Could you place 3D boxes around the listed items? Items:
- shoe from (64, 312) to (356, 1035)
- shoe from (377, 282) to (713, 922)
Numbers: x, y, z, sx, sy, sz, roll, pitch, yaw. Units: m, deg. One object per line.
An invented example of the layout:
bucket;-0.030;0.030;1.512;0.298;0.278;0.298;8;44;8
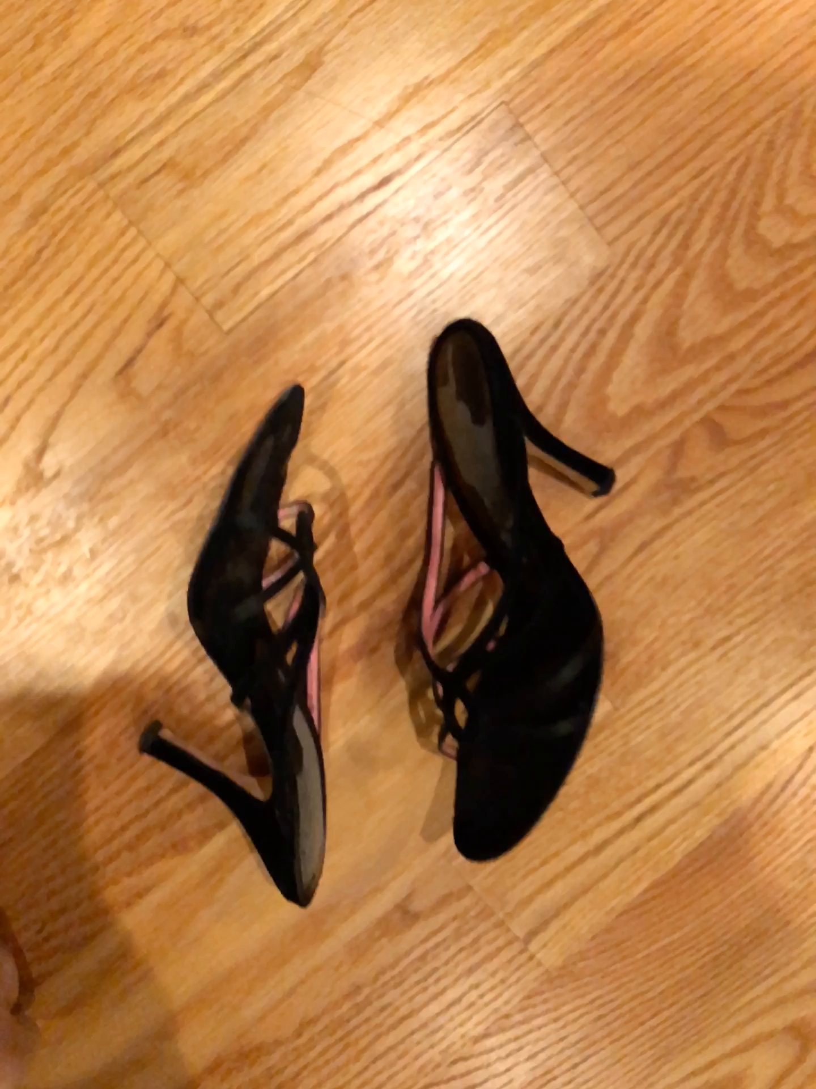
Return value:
shoe;-0.070;0.039;0.345;0.082;0.104;0.235;-2;98;-10
shoe;0.048;0.016;0.360;0.102;0.104;0.215;-3;98;-7
